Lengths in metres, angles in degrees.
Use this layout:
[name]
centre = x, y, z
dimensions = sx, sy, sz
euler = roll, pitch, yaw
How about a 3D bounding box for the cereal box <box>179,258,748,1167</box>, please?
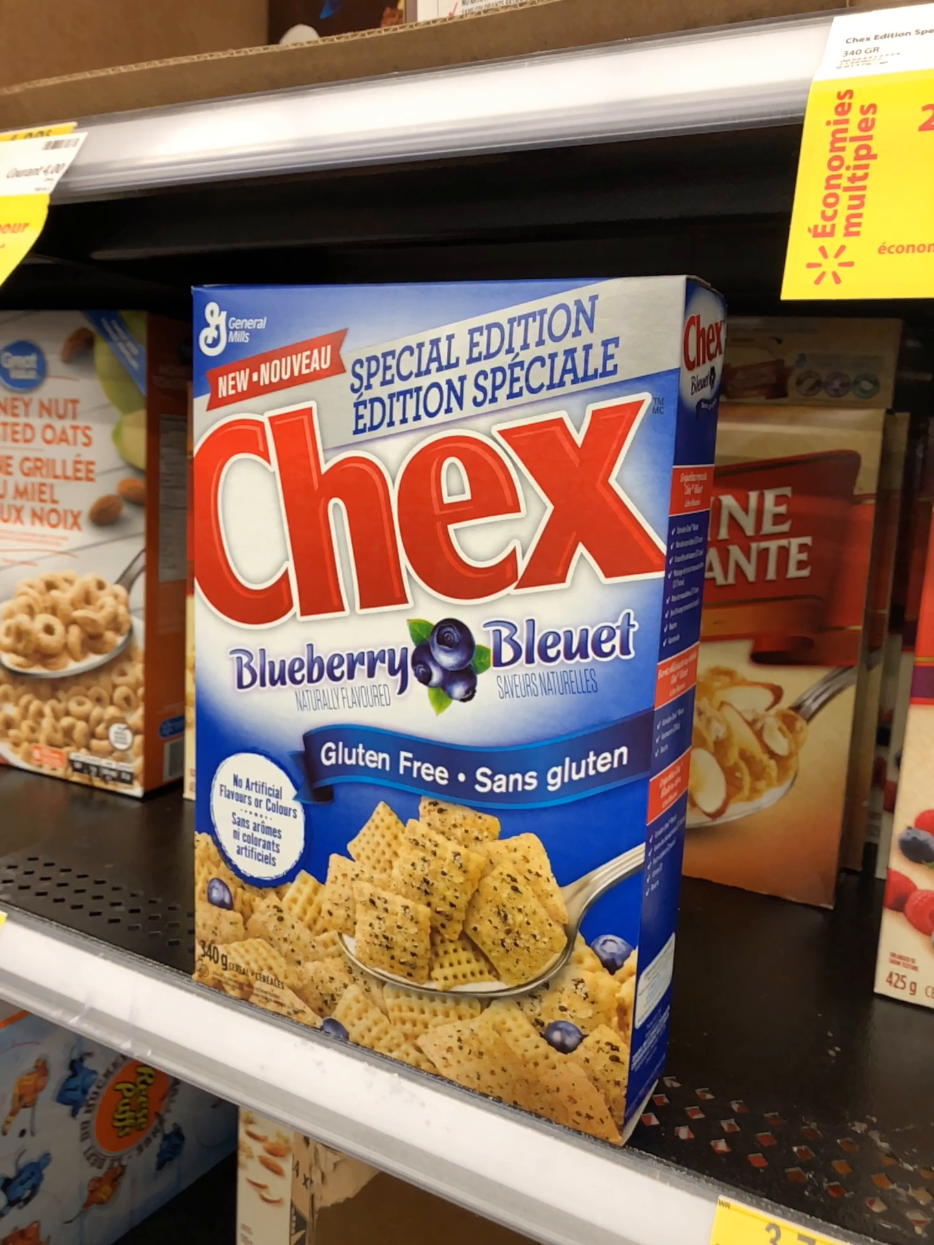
[cereal box]
centre = -0.014, 0.021, 0.394
dimensions = 0.200, 0.289, 0.060
euler = 8, 11, 29
